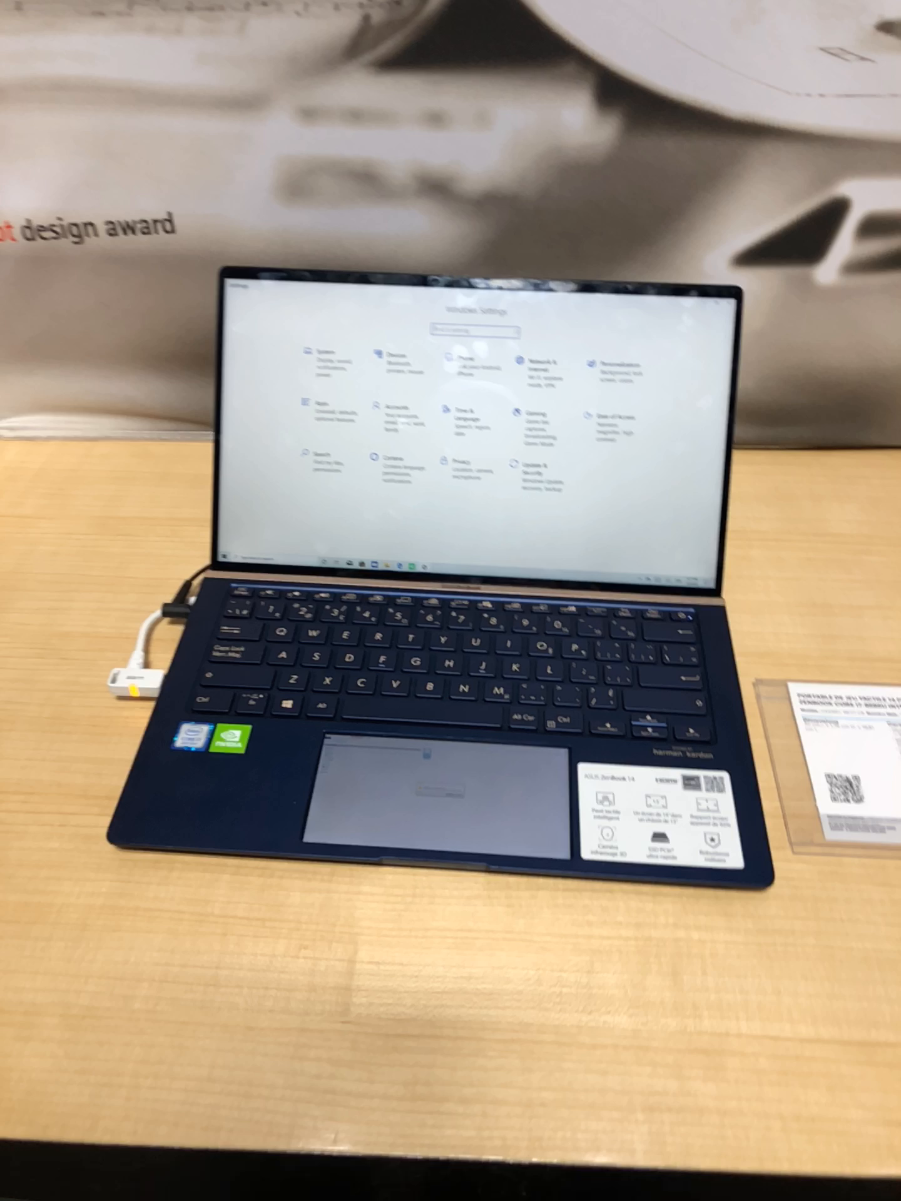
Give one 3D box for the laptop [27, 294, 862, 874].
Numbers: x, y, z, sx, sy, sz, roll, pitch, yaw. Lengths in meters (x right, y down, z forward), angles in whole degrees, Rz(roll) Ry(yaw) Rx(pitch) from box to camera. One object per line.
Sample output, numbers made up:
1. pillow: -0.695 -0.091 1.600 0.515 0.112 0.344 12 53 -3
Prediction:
1. laptop: 0.009 -0.031 0.567 0.332 0.159 0.322 2 41 3
